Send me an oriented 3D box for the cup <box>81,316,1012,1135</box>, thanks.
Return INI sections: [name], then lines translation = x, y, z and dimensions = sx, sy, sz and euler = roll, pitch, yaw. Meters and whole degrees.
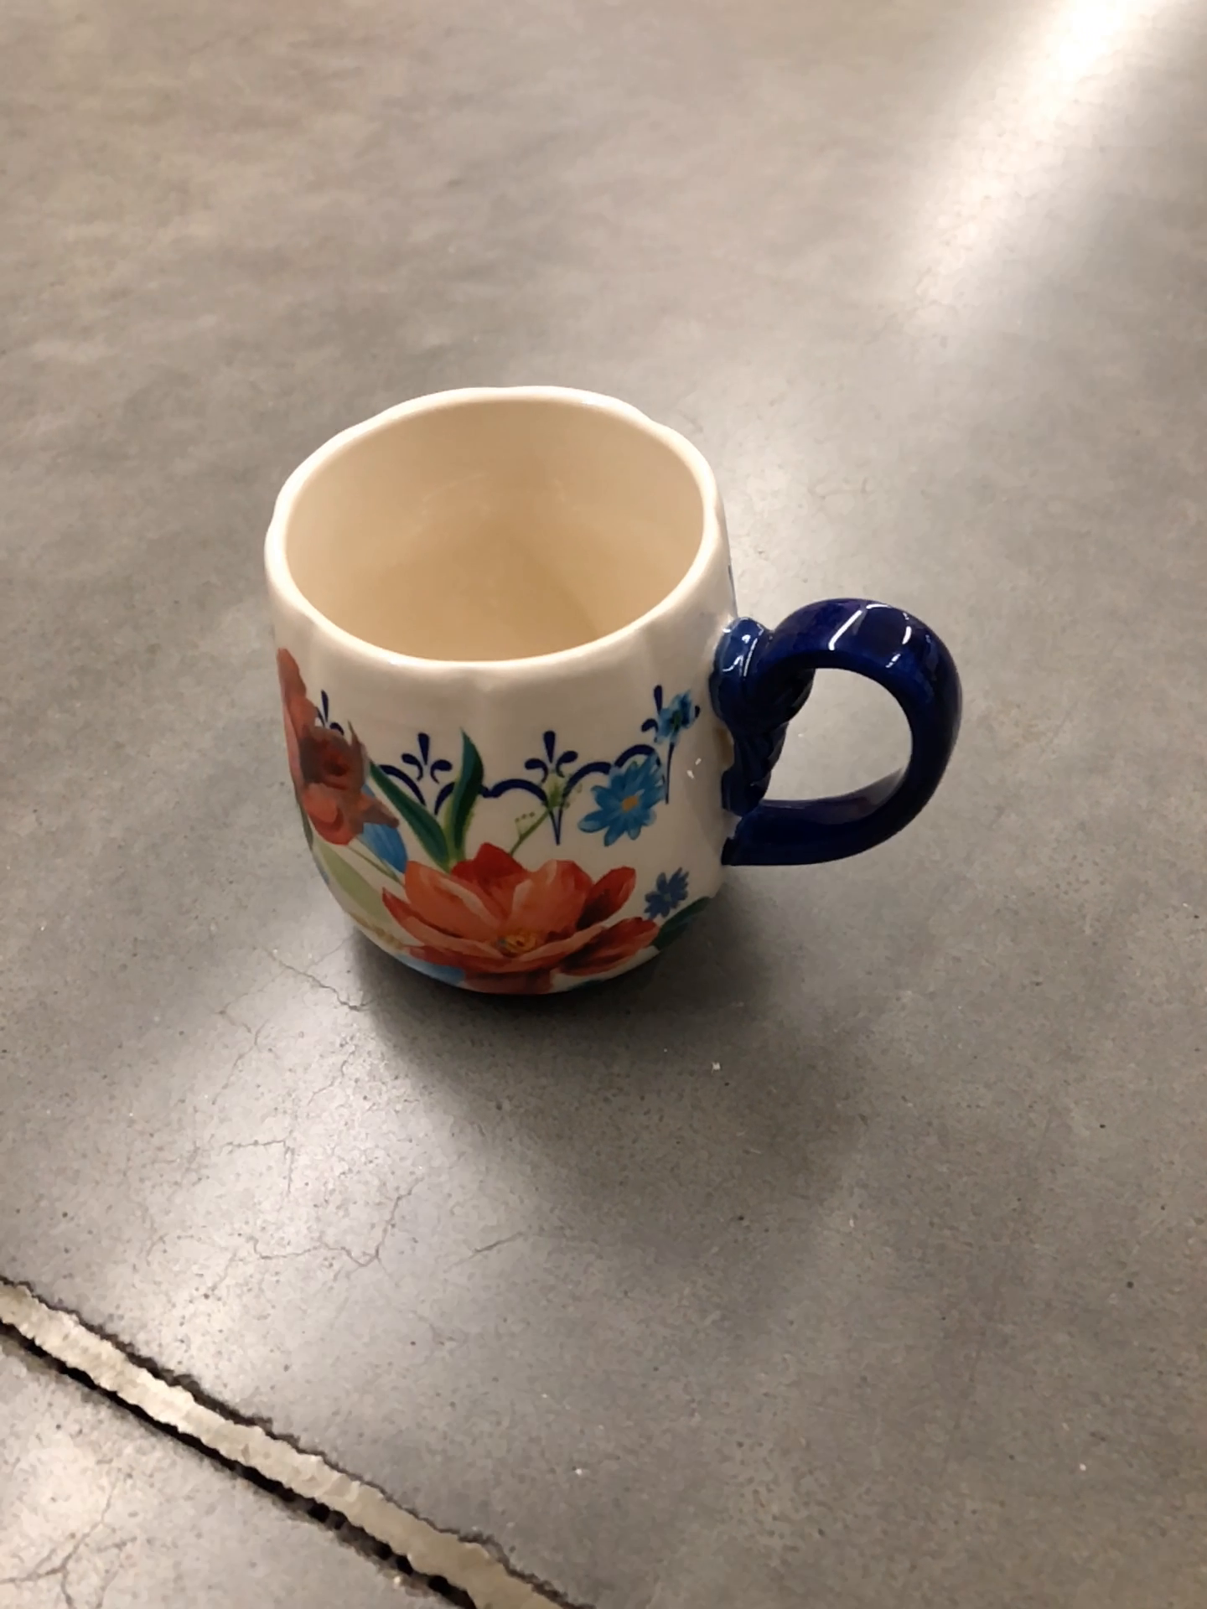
[cup]
translation = -0.004, -0.020, 0.278
dimensions = 0.140, 0.099, 0.100
euler = 15, 53, 16
